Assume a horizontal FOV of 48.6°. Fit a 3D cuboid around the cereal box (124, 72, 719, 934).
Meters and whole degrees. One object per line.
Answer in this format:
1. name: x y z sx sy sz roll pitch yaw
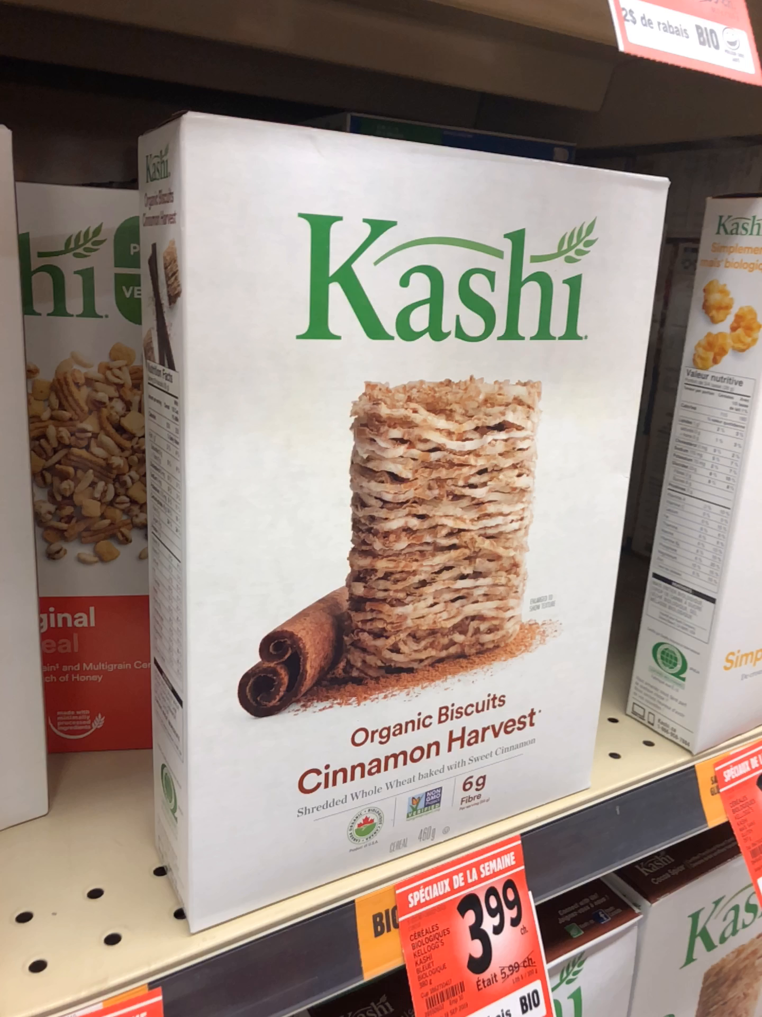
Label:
1. cereal box: 0.013 -0.003 0.330 0.200 0.269 0.070 -7 20 -30
